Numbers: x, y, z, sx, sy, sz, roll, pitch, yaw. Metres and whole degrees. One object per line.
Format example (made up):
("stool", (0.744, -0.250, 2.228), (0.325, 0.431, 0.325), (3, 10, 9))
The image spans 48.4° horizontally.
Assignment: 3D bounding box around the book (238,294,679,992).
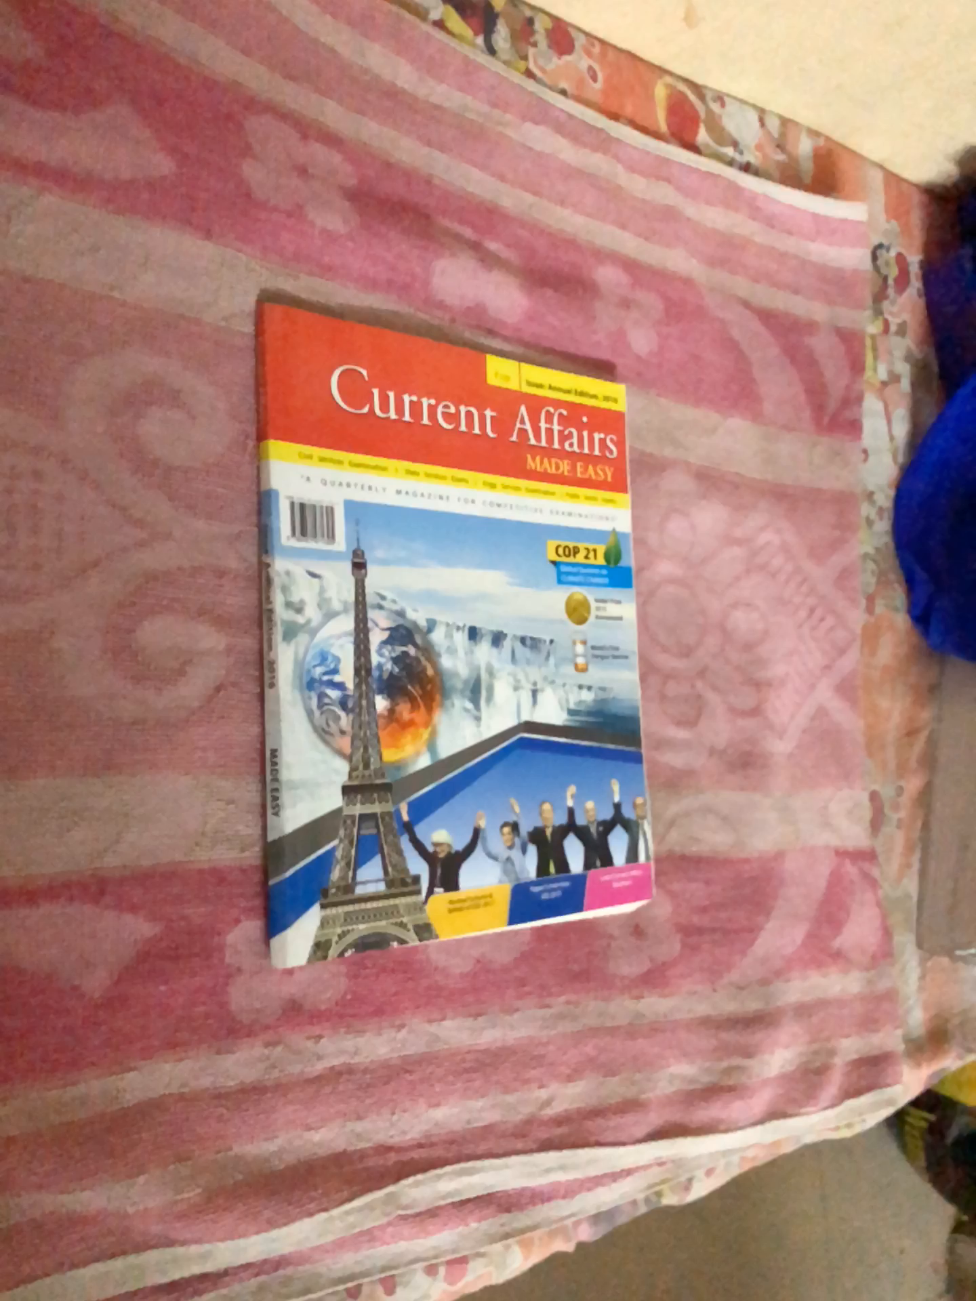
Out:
("book", (-0.005, -0.004, 0.488), (0.206, 0.025, 0.270), (1, 82, -37))
